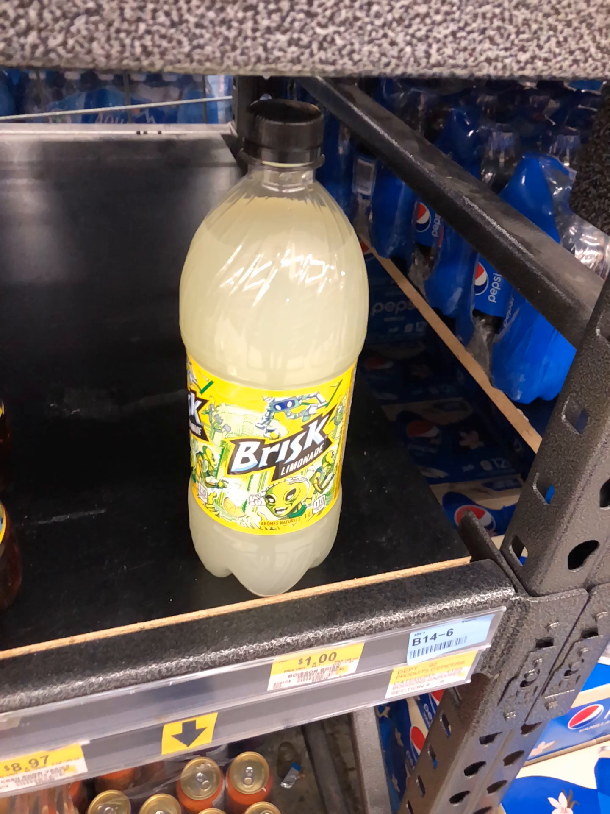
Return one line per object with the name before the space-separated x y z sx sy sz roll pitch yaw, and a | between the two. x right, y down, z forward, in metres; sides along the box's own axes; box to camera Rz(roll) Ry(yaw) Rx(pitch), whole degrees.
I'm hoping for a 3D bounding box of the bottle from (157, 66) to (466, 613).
bottle | -0.013 -0.020 0.311 0.090 0.228 0.091 4 38 -3
